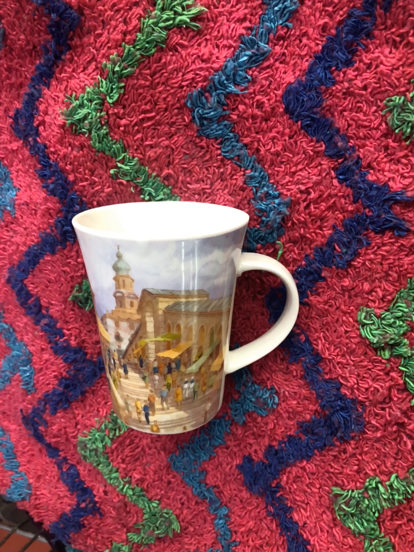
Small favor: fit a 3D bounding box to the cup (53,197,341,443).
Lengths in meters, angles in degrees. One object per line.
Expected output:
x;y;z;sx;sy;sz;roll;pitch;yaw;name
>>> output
-0.010;0.012;0.230;0.110;0.090;0.090;-1;107;-9;cup
